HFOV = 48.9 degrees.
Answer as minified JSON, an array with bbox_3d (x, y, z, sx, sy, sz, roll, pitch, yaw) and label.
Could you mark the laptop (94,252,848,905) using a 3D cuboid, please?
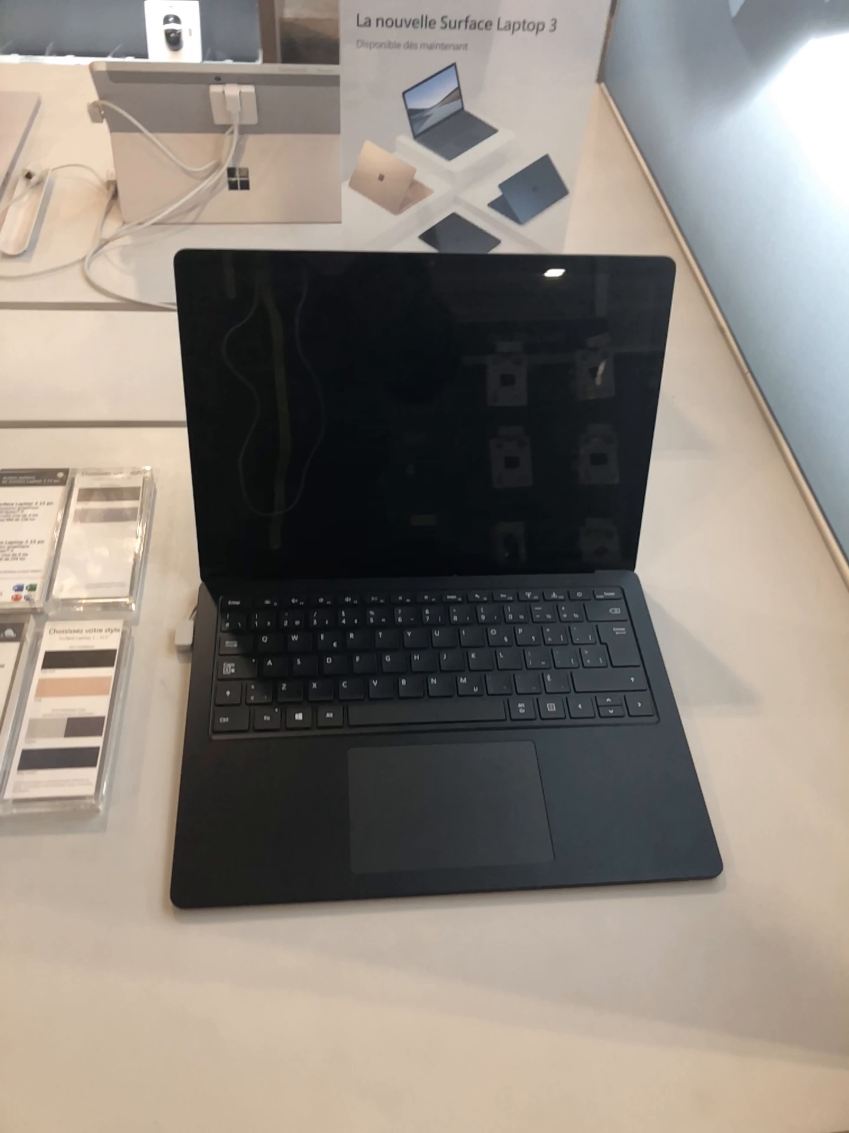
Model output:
[{"bbox_3d":[0.011,-0.008,0.544,0.308,0.197,0.314,-1,49,-6],"label":"laptop"}]
